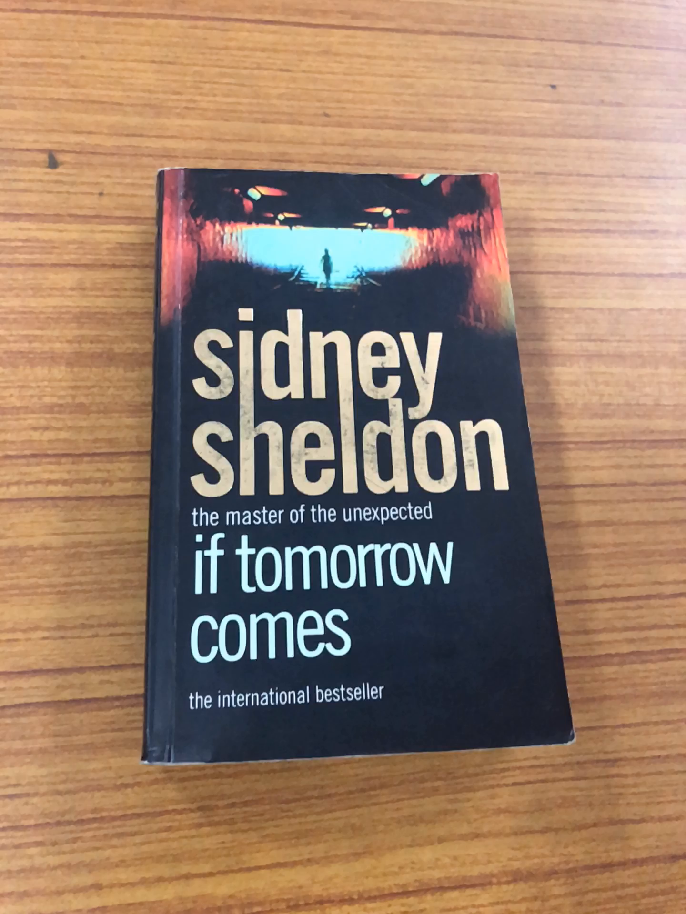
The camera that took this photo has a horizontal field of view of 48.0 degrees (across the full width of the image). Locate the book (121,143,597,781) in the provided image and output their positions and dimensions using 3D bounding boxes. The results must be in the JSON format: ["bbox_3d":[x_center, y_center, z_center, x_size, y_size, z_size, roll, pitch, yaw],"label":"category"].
[{"bbox_3d":[-0.001,-0.005,0.226,0.114,0.034,0.176,0,72,-8],"label":"book"}]
